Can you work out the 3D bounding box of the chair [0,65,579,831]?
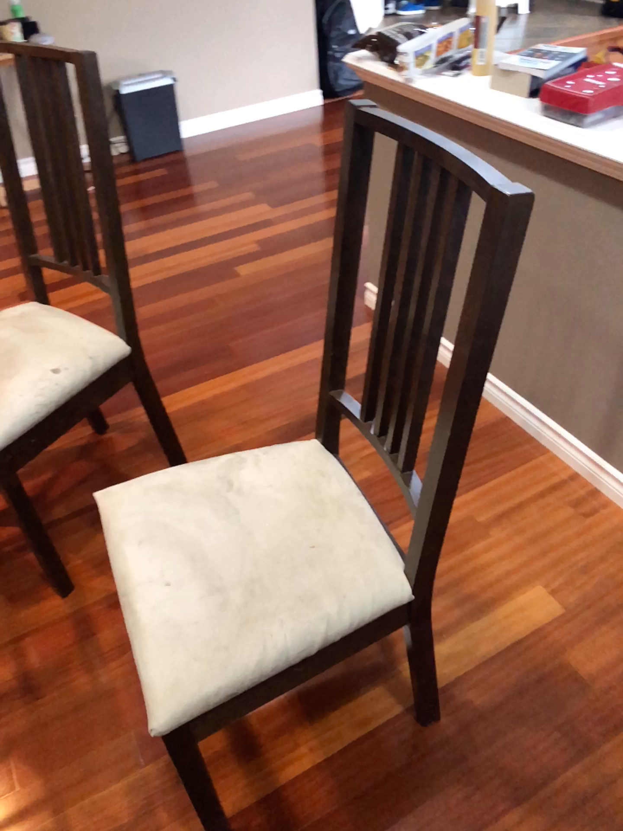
[{"bbox_3d":[-0.073,0.151,1.006,0.510,1.052,0.493,-18,42,-14],"label":"chair"}]
